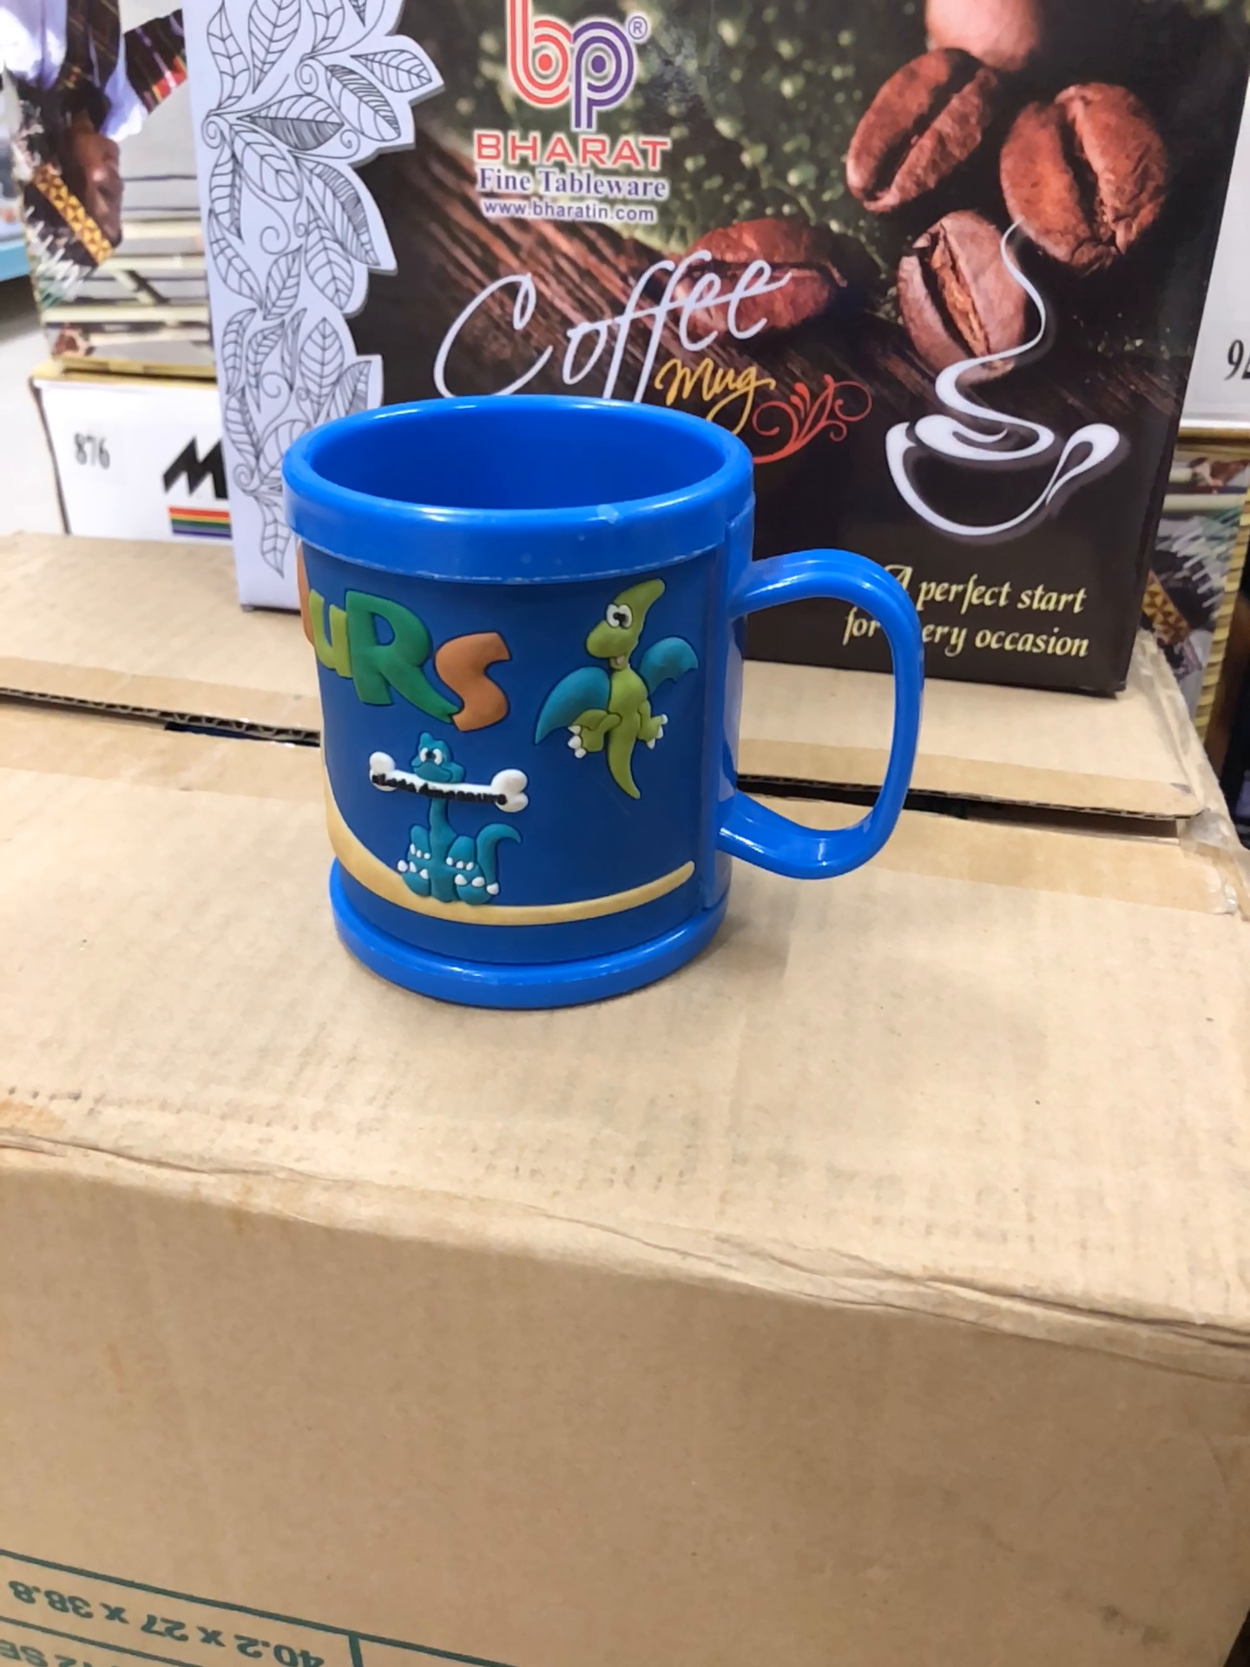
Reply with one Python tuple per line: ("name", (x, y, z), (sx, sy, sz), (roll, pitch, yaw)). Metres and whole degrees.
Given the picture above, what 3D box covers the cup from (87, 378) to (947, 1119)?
("cup", (-0.012, -0.024, 0.257), (0.120, 0.089, 0.091), (10, 31, 15))
